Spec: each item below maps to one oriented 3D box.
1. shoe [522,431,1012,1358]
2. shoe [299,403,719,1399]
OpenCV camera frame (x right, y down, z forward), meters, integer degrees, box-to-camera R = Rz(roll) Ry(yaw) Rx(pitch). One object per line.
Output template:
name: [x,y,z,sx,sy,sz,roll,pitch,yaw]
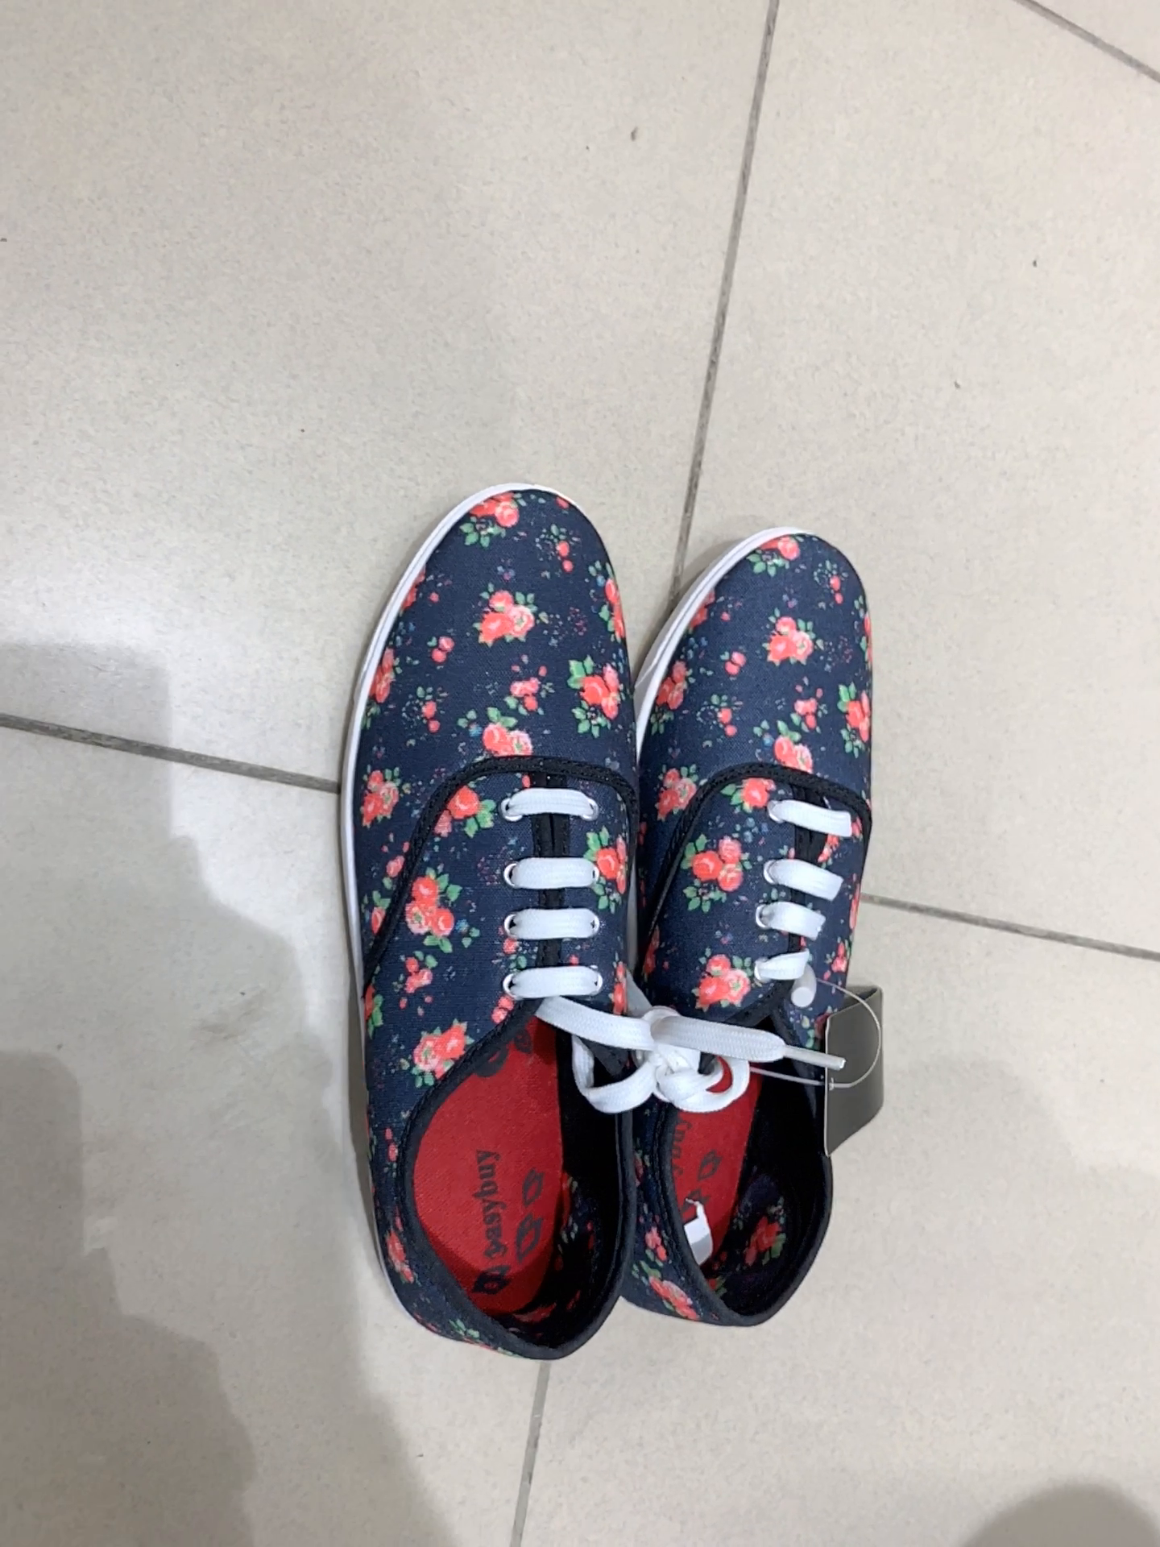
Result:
shoe: [0.062,0.040,0.402,0.100,0.080,0.270,12,83,-21]
shoe: [-0.024,0.036,0.382,0.100,0.080,0.270,4,86,-22]
